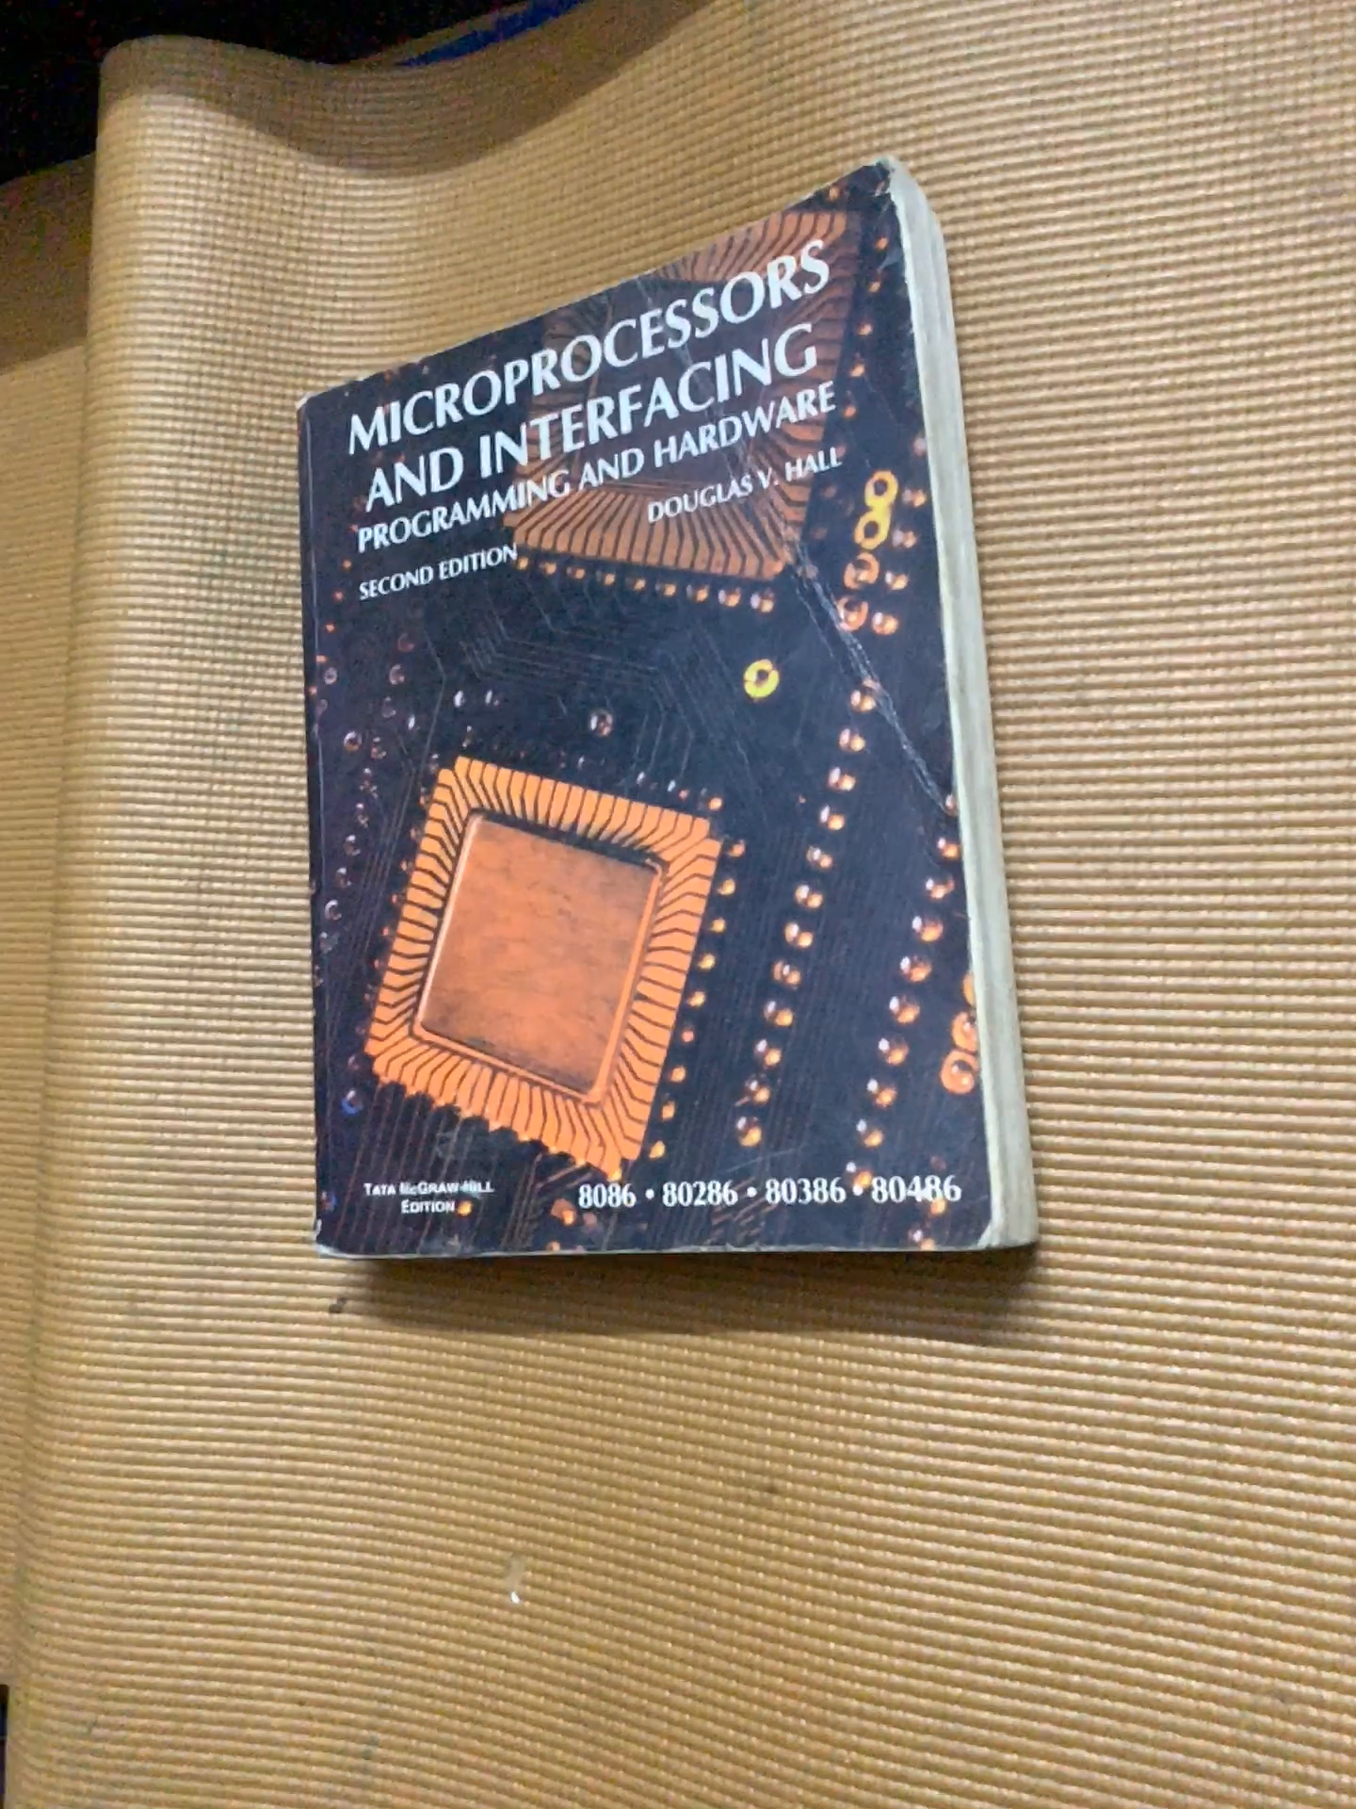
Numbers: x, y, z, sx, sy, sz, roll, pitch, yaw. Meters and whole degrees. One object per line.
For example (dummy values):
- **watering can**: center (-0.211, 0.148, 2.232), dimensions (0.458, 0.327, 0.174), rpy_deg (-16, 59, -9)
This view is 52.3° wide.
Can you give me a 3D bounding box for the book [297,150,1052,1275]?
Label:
- **book**: center (-0.018, -0.049, 0.495), dimensions (0.260, 0.060, 0.339), rpy_deg (-7, 82, 30)
